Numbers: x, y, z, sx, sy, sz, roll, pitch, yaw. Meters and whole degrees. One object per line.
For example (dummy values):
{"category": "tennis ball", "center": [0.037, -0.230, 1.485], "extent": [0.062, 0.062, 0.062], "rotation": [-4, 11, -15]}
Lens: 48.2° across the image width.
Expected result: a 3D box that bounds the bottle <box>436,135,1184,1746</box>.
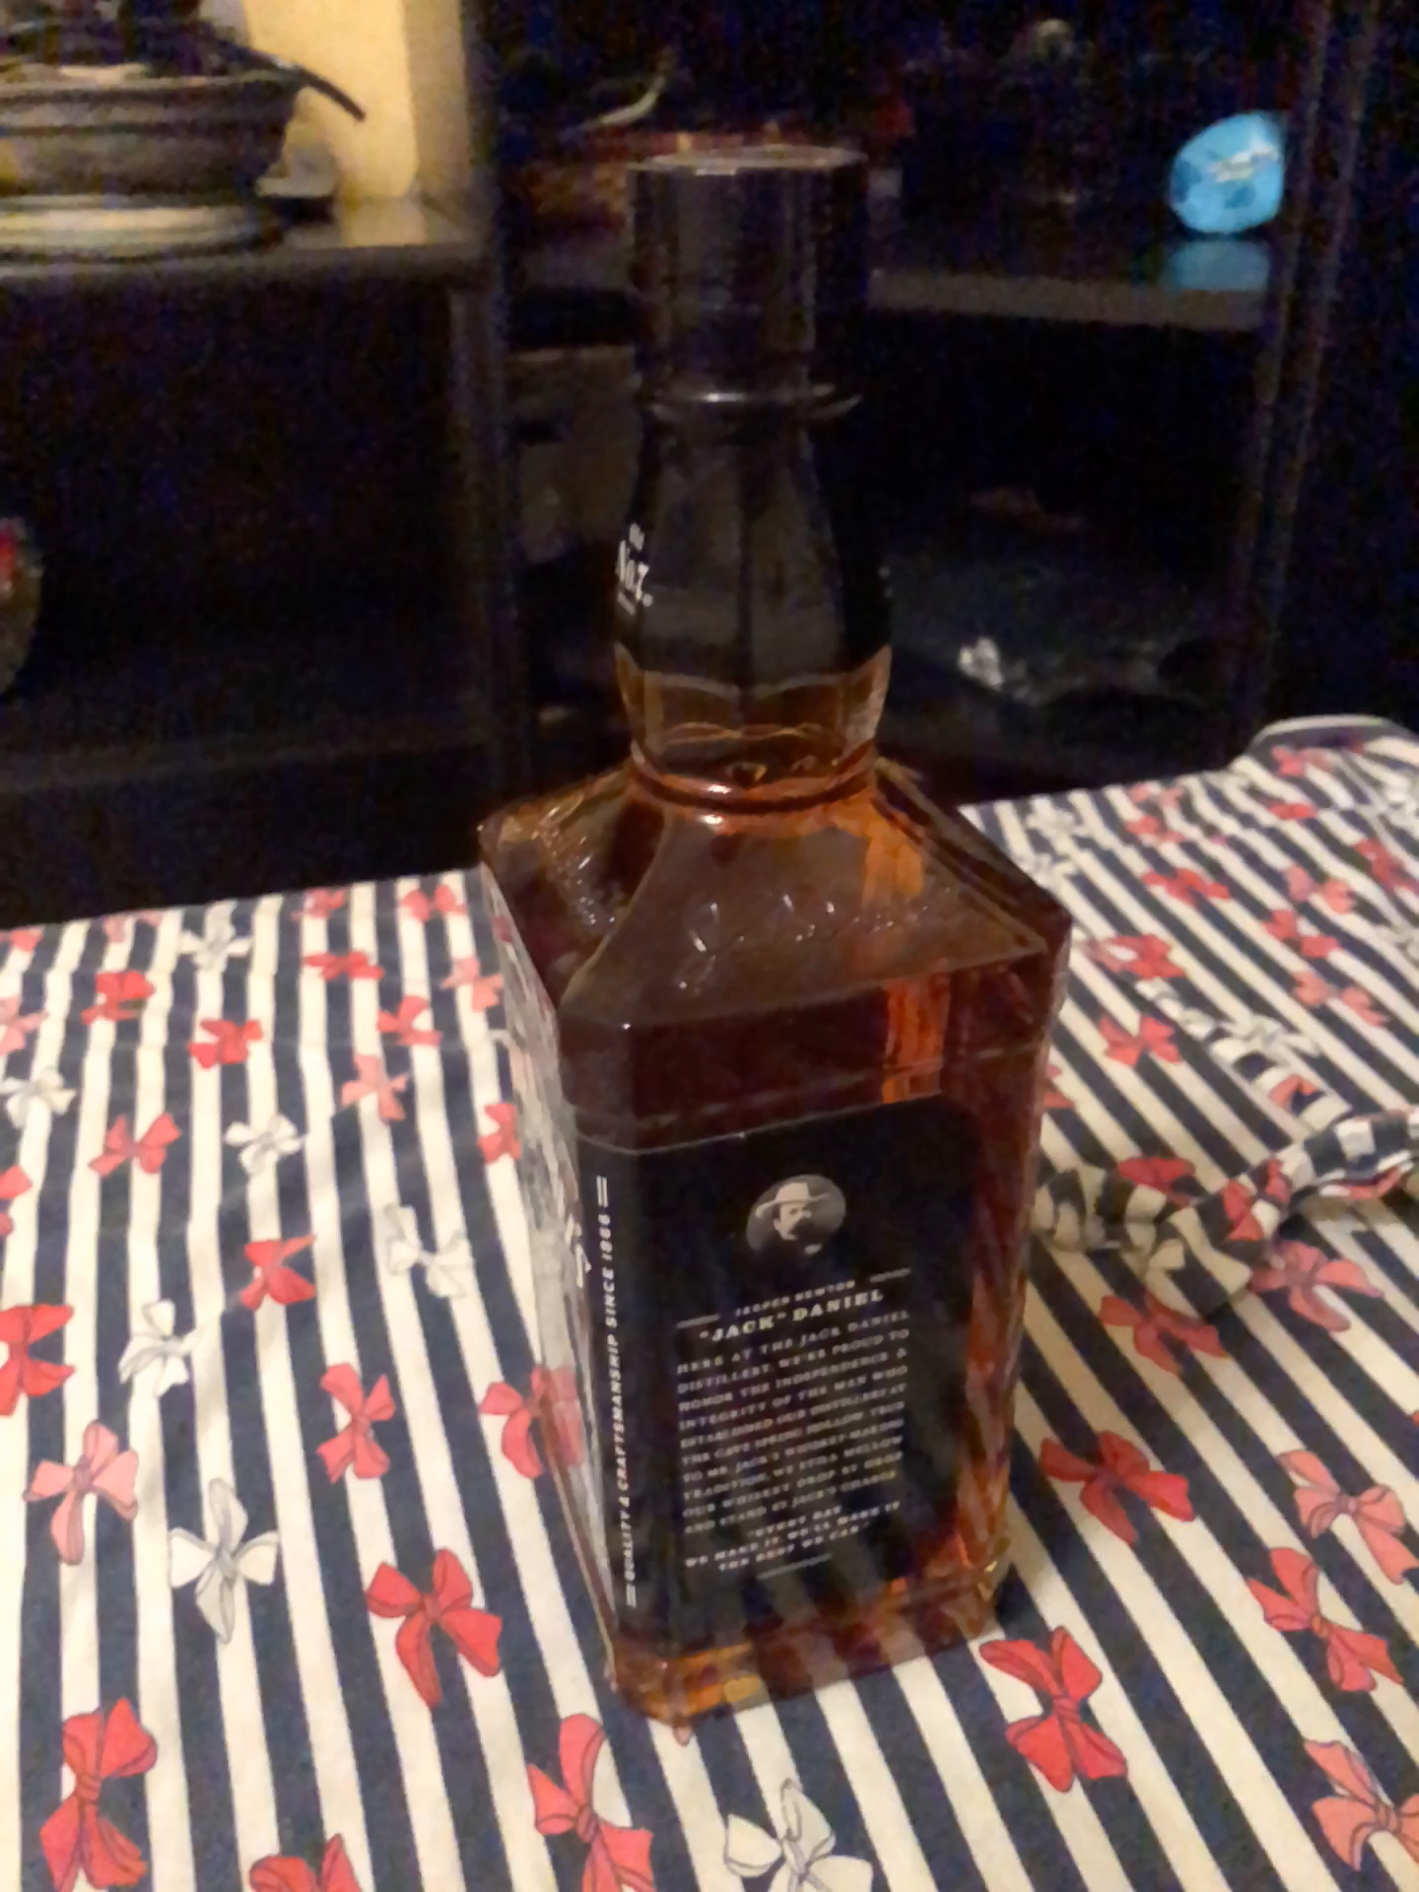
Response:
{"category": "bottle", "center": [0.009, 0.009, 0.257], "extent": [0.073, 0.246, 0.075], "rotation": [-1, 29, 0]}
